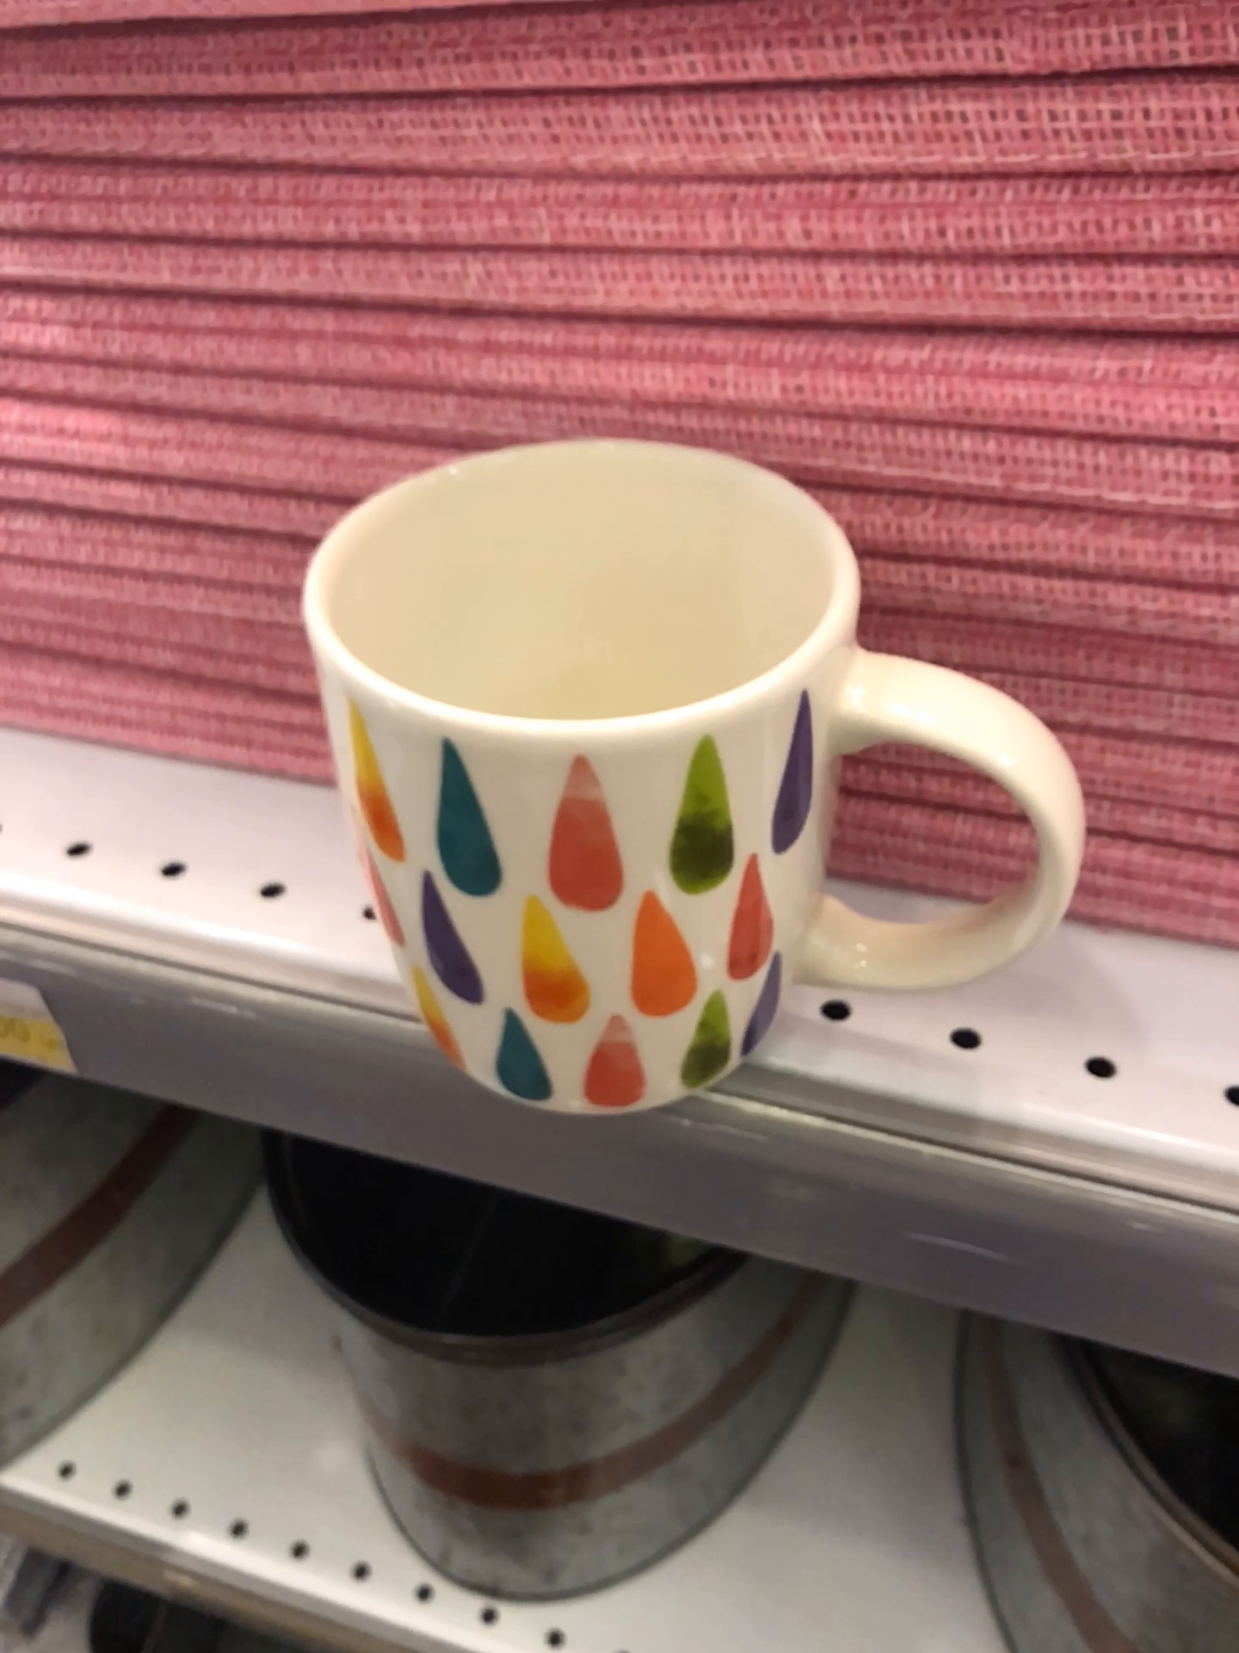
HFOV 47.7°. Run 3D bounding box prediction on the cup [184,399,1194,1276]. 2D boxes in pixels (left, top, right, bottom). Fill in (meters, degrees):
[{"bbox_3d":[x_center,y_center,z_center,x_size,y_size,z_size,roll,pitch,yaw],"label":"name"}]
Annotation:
[{"bbox_3d":[0.018,-0.005,0.236,0.130,0.089,0.091,10,41,14],"label":"cup"}]
